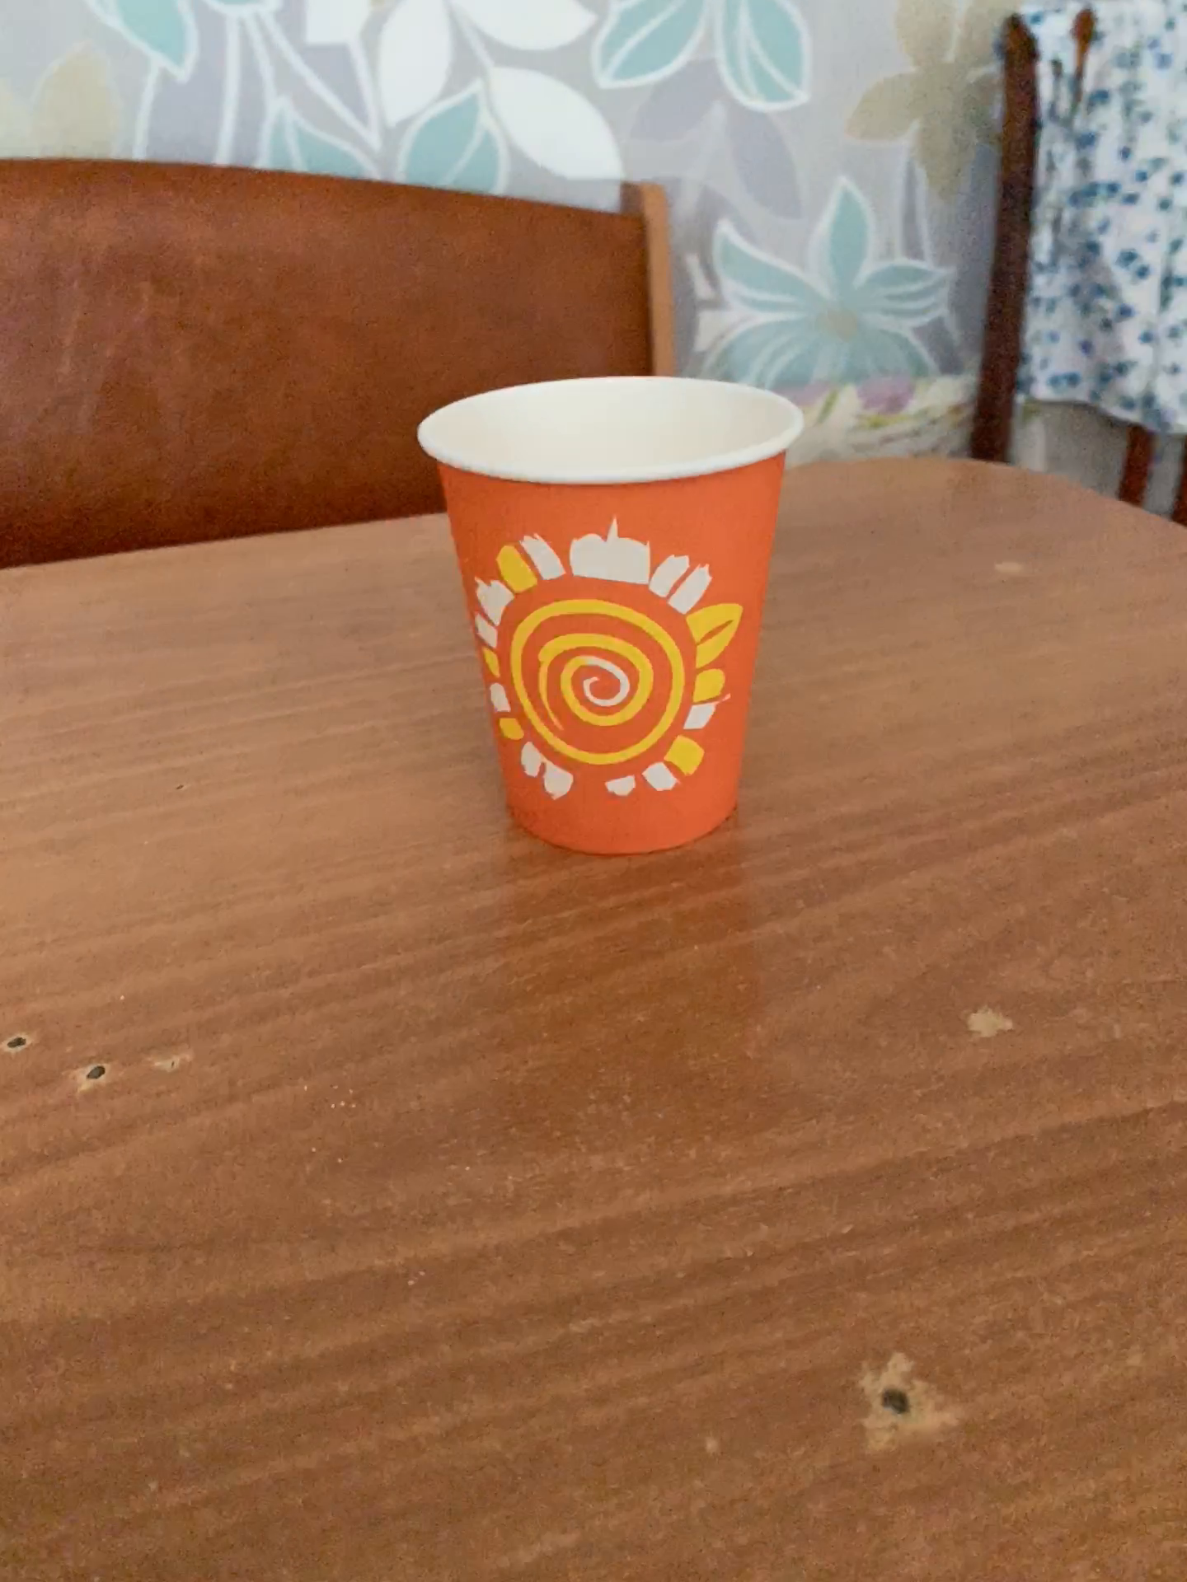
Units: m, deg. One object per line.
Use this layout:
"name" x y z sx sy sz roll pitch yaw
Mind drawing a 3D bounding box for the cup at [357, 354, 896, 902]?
"cup" 0.011 -0.045 0.287 0.084 0.087 0.089 -1 30 1
